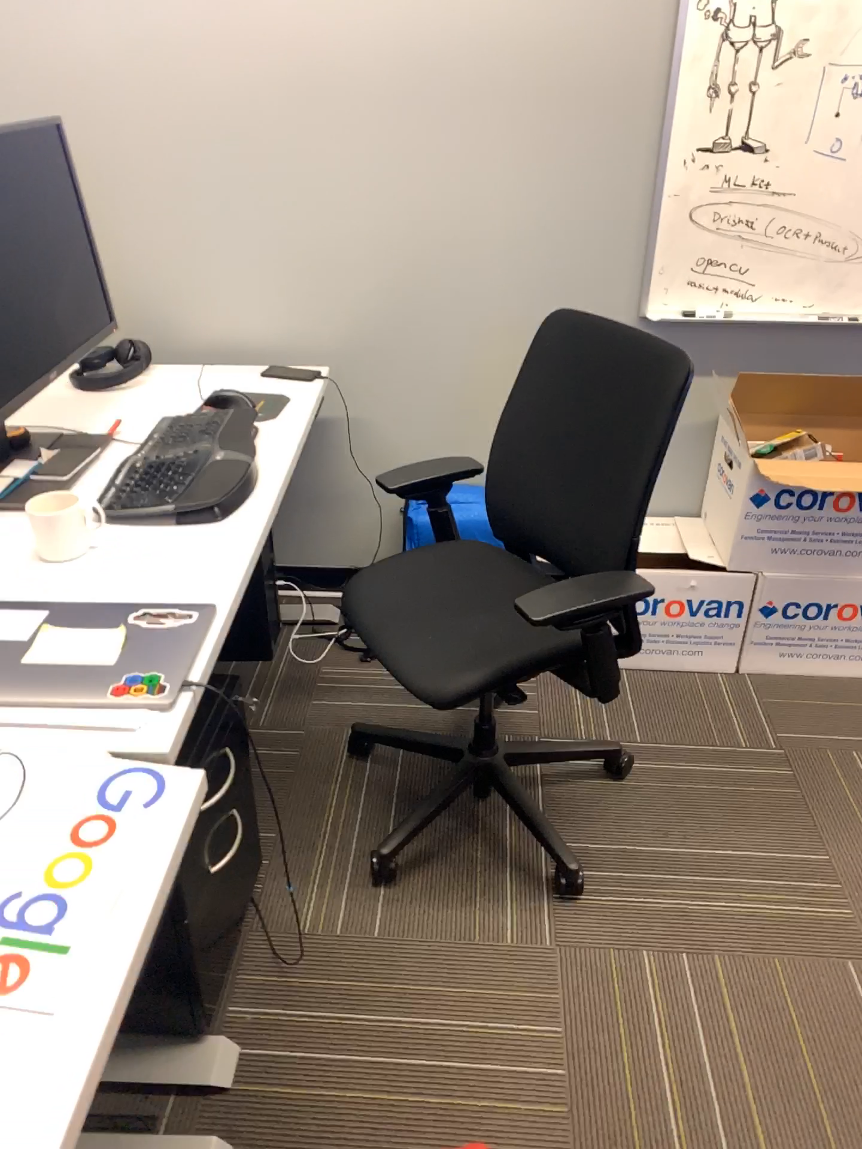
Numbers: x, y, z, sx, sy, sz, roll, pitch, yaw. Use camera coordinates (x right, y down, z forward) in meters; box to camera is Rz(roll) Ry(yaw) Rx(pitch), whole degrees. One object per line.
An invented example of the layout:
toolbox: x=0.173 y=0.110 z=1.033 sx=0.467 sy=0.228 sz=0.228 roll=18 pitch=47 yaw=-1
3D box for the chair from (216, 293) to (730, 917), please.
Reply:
chair: x=0.028 y=-0.009 z=1.896 sx=0.610 sy=0.945 sz=0.834 roll=-17 pitch=35 yaw=-28
